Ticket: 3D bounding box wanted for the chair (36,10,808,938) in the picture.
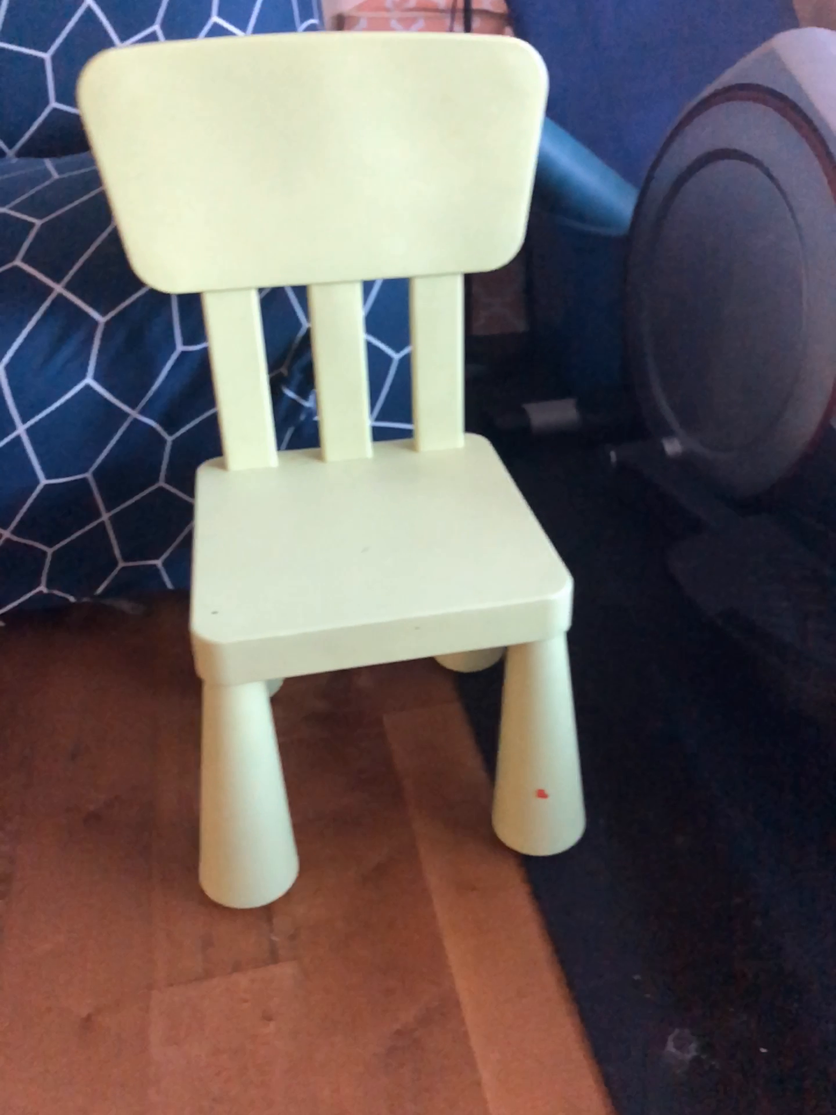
[{"bbox_3d":[-0.035,-0.086,0.793,0.390,0.635,0.413,-7,35,-12],"label":"chair"}]
